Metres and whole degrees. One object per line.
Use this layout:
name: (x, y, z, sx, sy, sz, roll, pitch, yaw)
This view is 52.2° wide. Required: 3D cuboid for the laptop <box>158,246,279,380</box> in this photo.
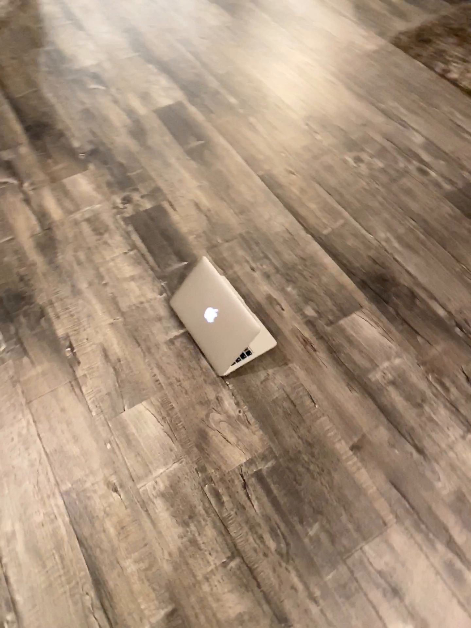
laptop: (-0.049, -0.008, 1.322, 0.193, 0.132, 0.292, -30, 62, -17)
